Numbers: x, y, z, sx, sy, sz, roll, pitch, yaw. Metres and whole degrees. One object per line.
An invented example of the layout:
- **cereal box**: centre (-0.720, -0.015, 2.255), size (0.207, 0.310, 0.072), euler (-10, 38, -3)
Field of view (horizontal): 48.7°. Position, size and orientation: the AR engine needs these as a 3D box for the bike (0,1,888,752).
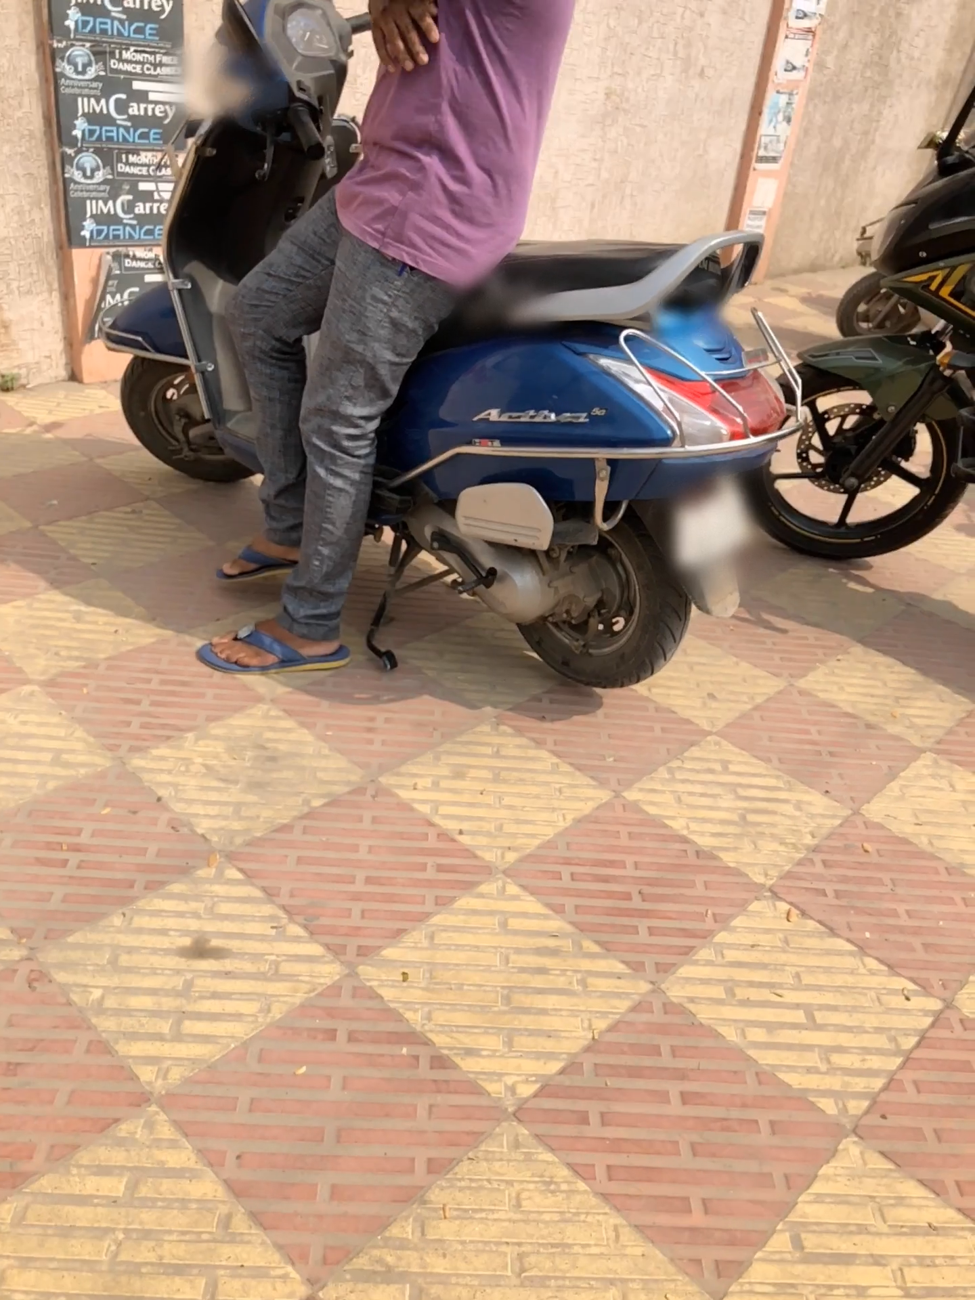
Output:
- **bike**: centre (-0.232, -0.691, 2.268), size (1.700, 1.037, 0.626), euler (25, 35, 30)
